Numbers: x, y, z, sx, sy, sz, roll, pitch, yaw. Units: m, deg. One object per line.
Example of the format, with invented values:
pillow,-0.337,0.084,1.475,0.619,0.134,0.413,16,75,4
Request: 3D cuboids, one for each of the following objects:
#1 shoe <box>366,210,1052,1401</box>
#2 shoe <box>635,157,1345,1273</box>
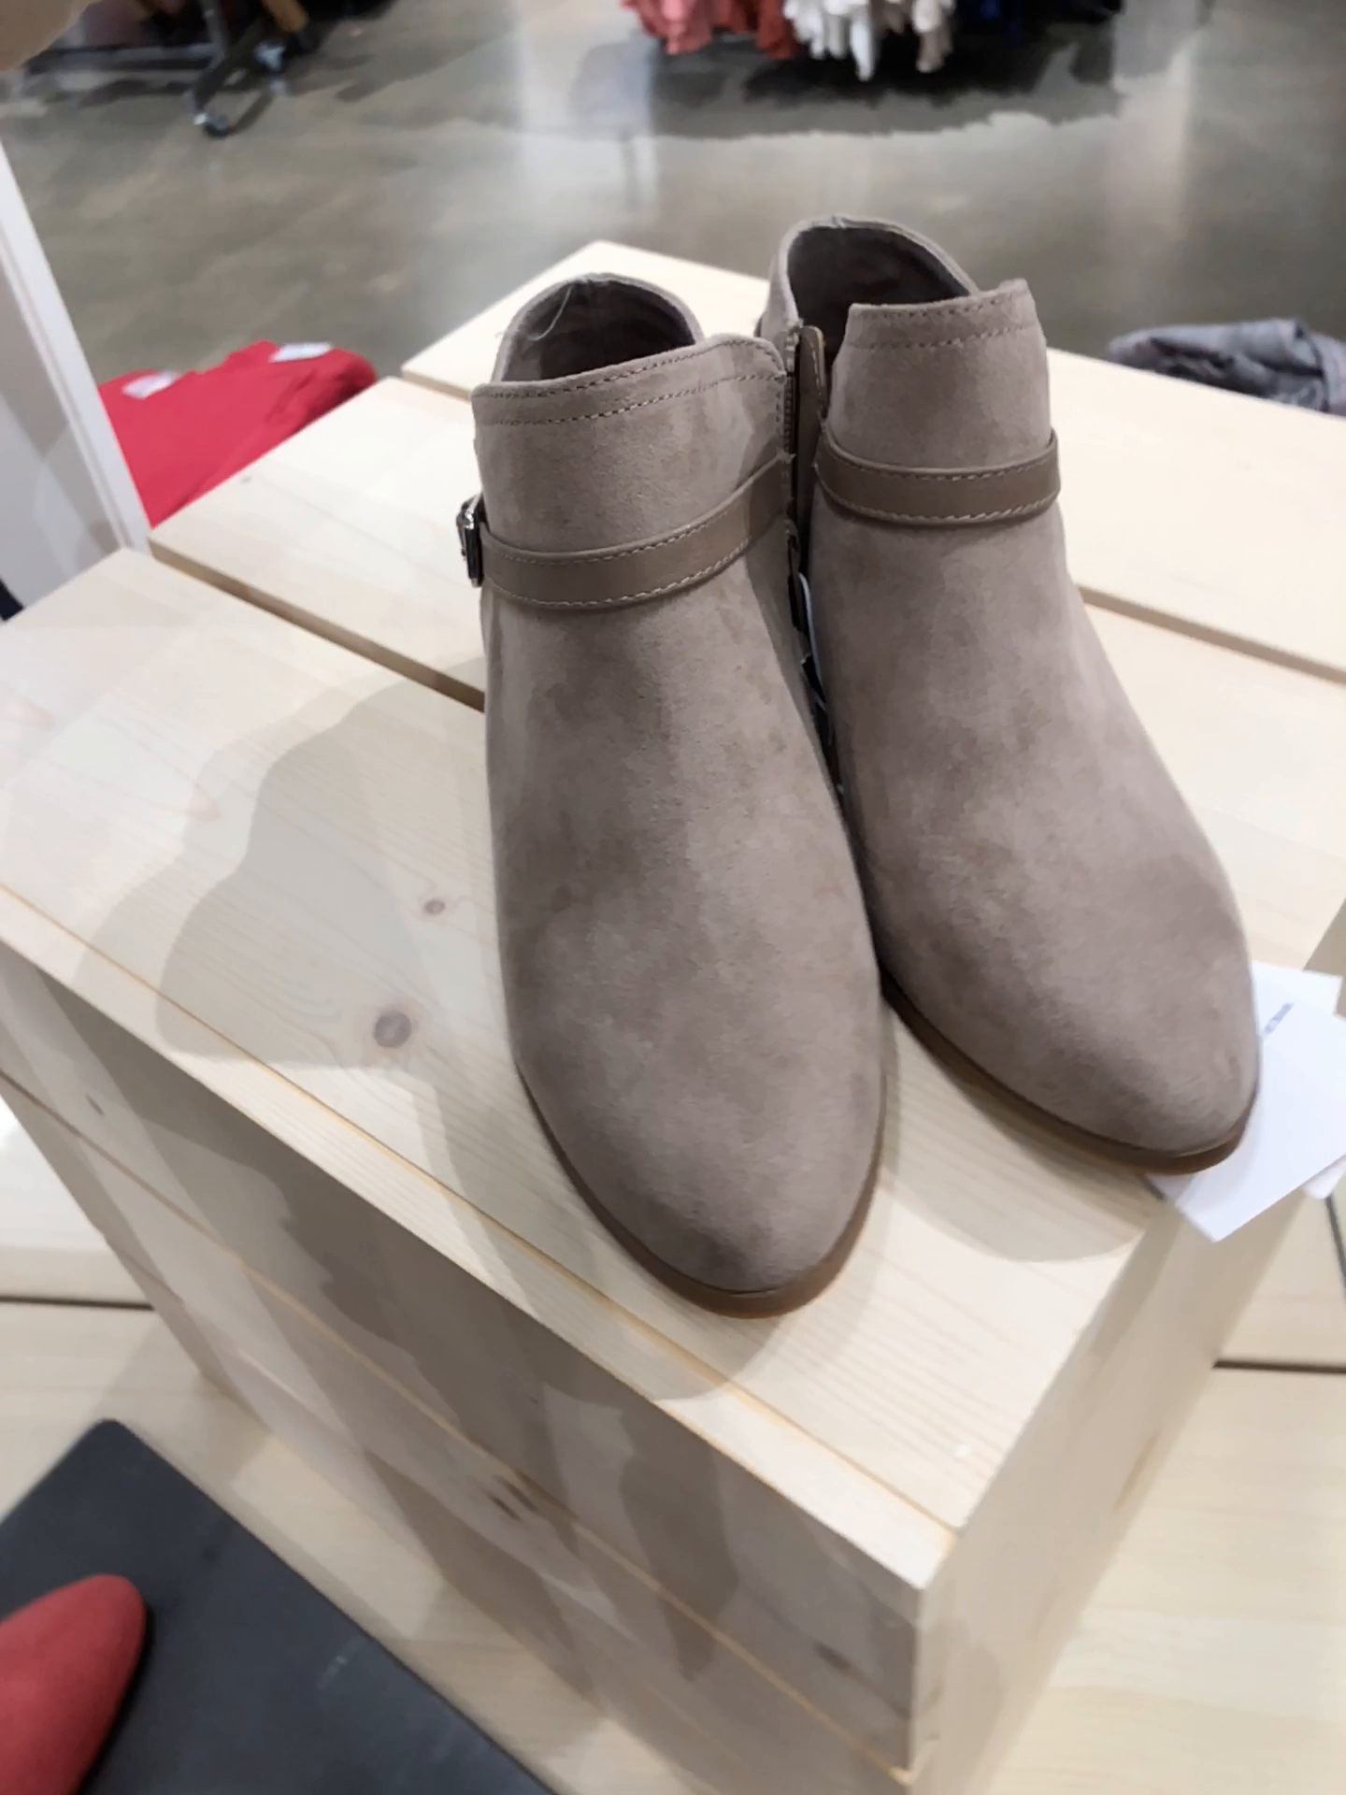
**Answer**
shoe,-0.007,-0.040,0.331,0.090,0.110,0.251,-10,46,-3
shoe,0.069,-0.061,0.346,0.090,0.110,0.251,-14,47,-6
